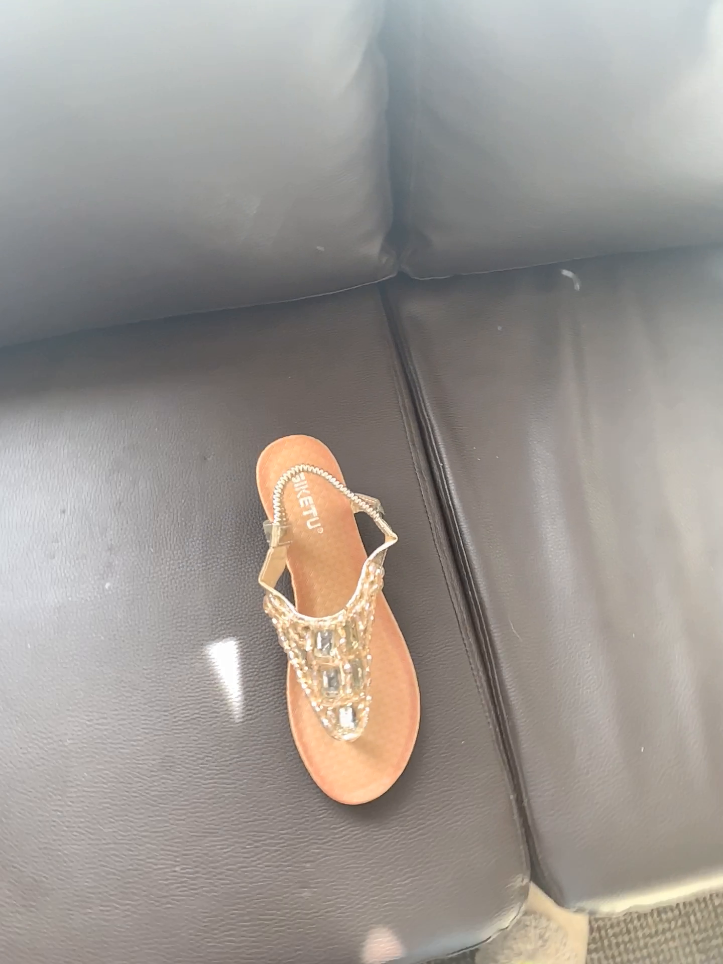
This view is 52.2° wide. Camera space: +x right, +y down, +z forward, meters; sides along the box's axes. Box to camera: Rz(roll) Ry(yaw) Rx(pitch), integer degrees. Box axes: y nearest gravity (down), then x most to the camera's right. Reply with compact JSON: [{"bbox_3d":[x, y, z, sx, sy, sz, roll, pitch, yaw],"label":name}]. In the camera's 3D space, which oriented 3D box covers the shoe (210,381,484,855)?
[{"bbox_3d":[-0.020,0.090,0.515,0.100,0.139,0.271,-13,72,-8],"label":"shoe"}]
